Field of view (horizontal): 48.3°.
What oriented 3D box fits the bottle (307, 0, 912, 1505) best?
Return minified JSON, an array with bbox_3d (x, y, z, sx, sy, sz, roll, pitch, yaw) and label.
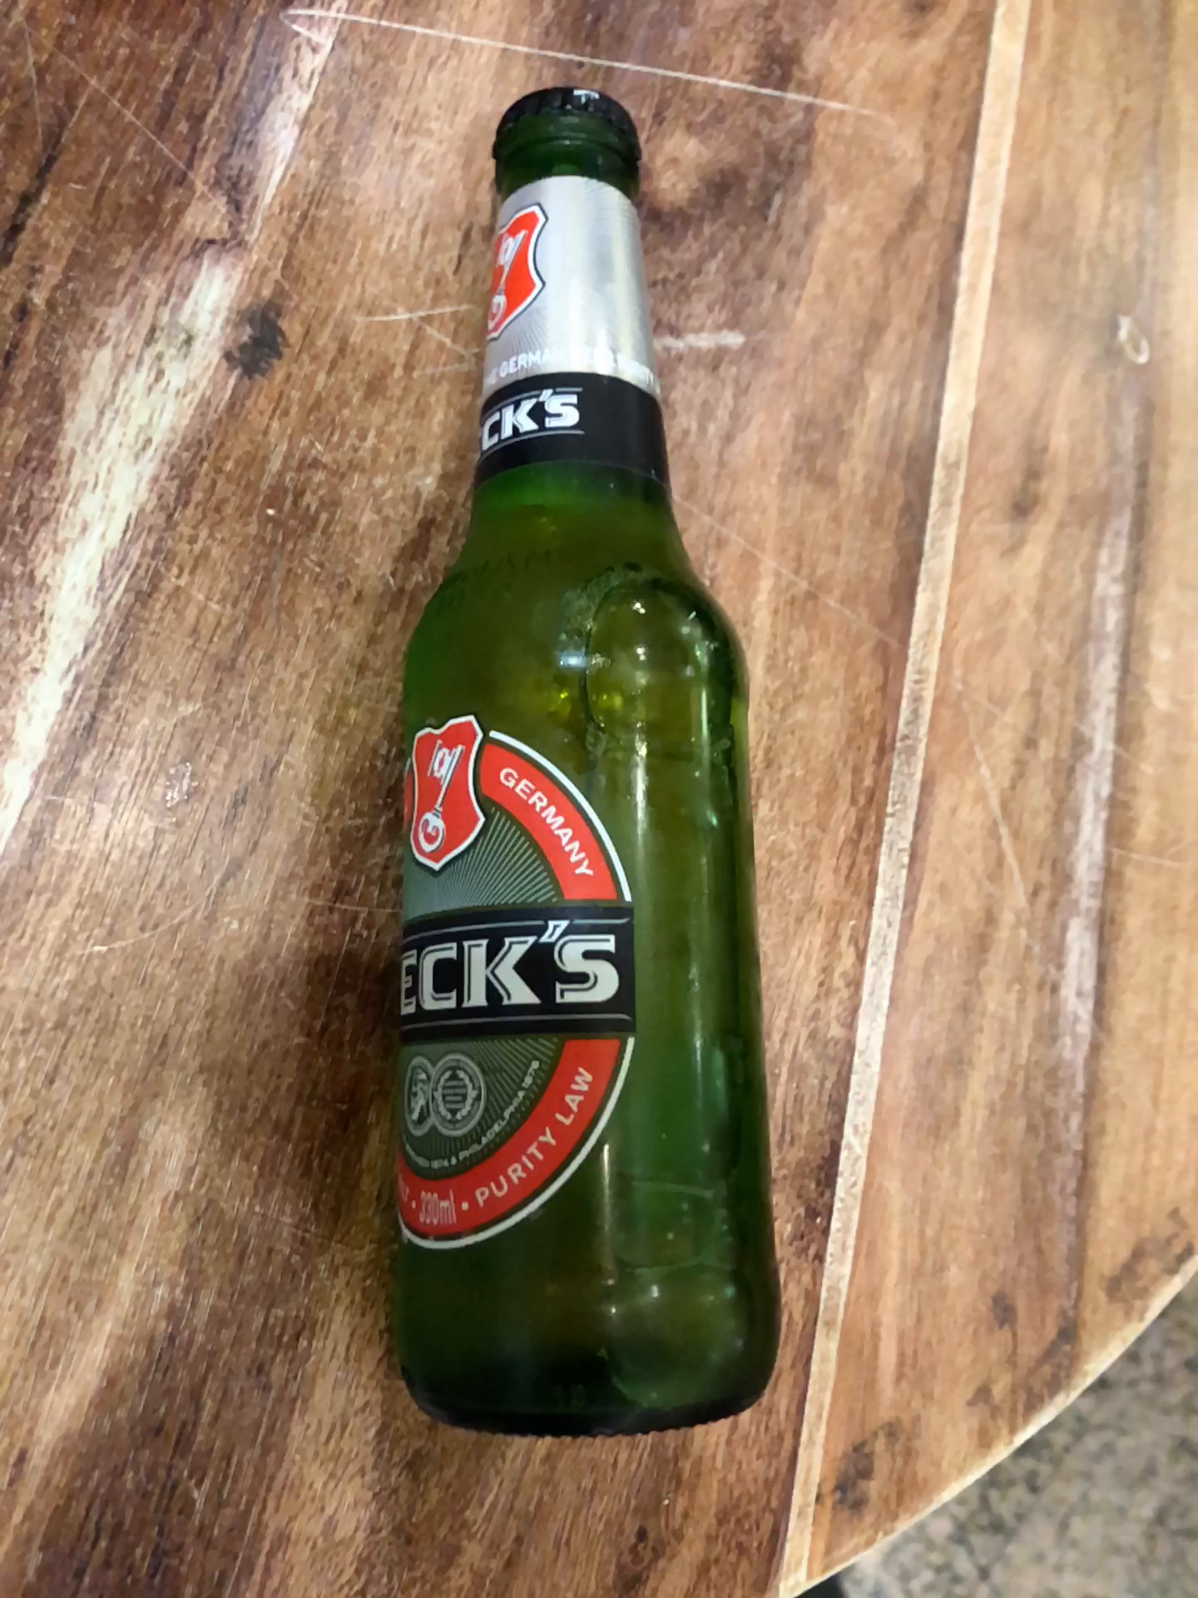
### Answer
[{"bbox_3d":[-0.003,-0.019,0.228,0.070,0.060,0.230,7,74,-33],"label":"bottle"}]
